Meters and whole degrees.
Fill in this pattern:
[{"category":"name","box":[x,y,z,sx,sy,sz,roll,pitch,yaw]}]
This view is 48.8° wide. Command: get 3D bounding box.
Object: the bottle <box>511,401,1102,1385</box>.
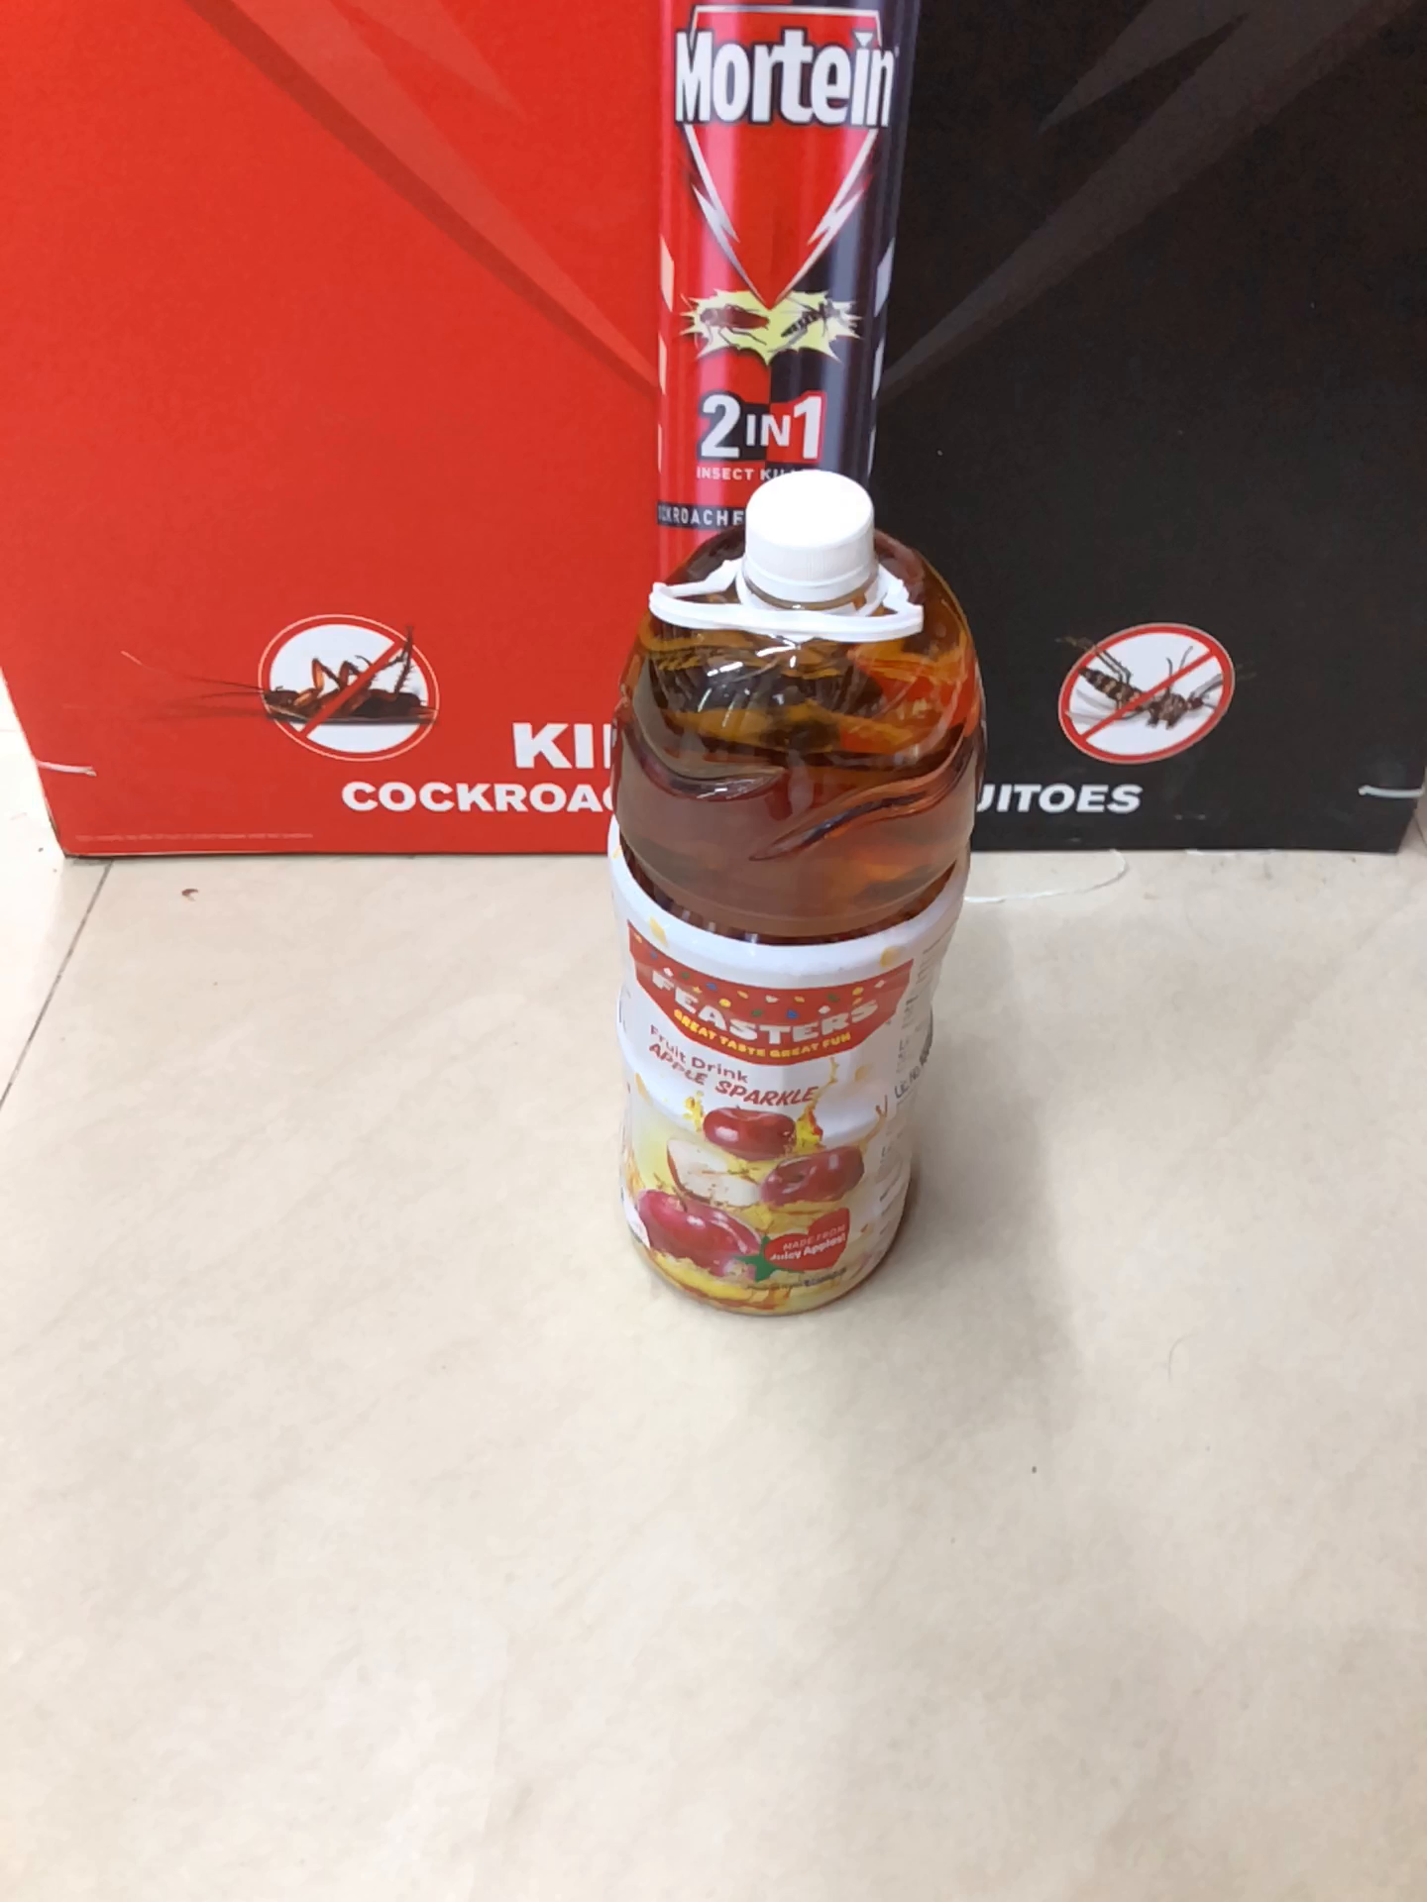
[{"category":"bottle","box":[0.026,0.000,0.464,0.120,0.278,0.101,10,46,10]}]
